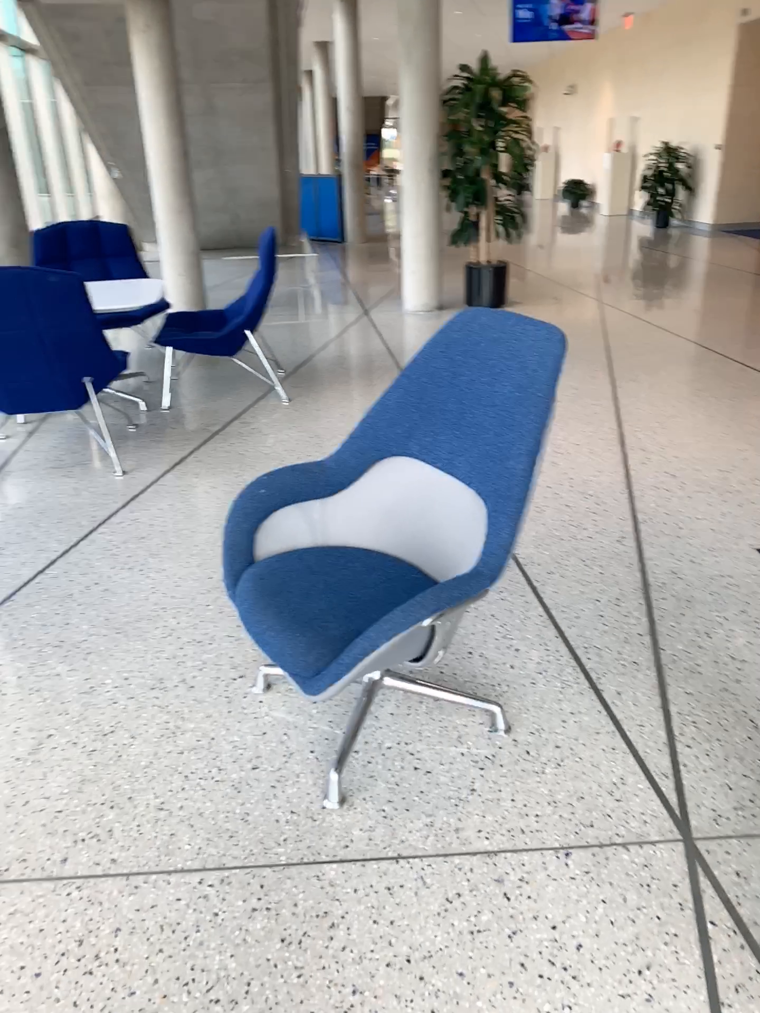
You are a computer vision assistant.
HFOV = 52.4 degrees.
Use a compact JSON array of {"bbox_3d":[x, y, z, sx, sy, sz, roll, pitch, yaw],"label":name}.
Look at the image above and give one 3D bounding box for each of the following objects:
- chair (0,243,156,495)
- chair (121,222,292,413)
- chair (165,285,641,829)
[{"bbox_3d":[-1.552,-0.655,3.490,0.804,0.915,0.779,-4,24,-5],"label":"chair"},{"bbox_3d":[-0.952,-1.148,4.554,0.774,0.915,0.900,-4,24,-3],"label":"chair"},{"bbox_3d":[0.027,0.024,1.872,0.785,0.934,0.728,-14,26,-25],"label":"chair"}]
